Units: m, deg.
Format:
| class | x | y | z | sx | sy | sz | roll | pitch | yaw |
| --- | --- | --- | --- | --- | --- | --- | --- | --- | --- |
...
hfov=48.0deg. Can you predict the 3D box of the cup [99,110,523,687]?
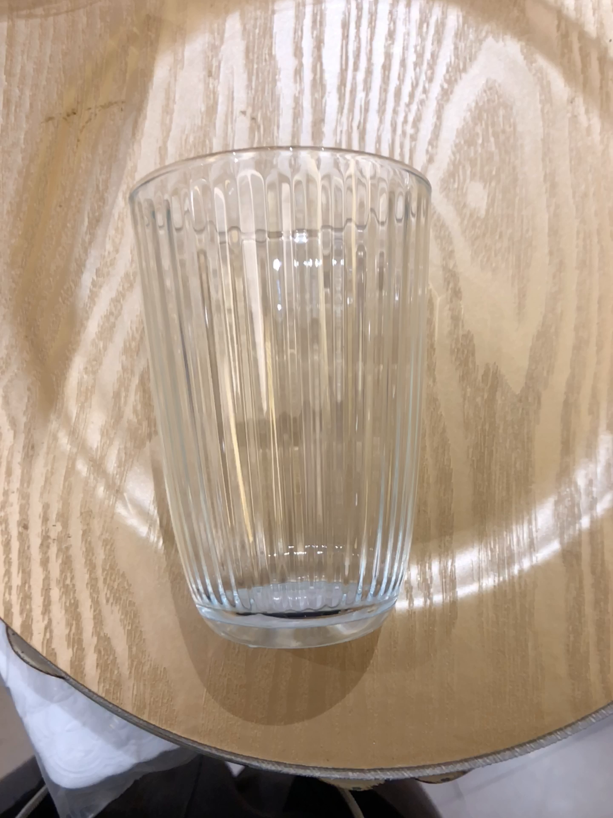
| class | x | y | z | sx | sy | sz | roll | pitch | yaw |
| --- | --- | --- | --- | --- | --- | --- | --- | --- | --- |
| cup | -0.001 | -0.002 | 0.196 | 0.090 | 0.070 | 0.130 | -4 | 84 | -2 |
